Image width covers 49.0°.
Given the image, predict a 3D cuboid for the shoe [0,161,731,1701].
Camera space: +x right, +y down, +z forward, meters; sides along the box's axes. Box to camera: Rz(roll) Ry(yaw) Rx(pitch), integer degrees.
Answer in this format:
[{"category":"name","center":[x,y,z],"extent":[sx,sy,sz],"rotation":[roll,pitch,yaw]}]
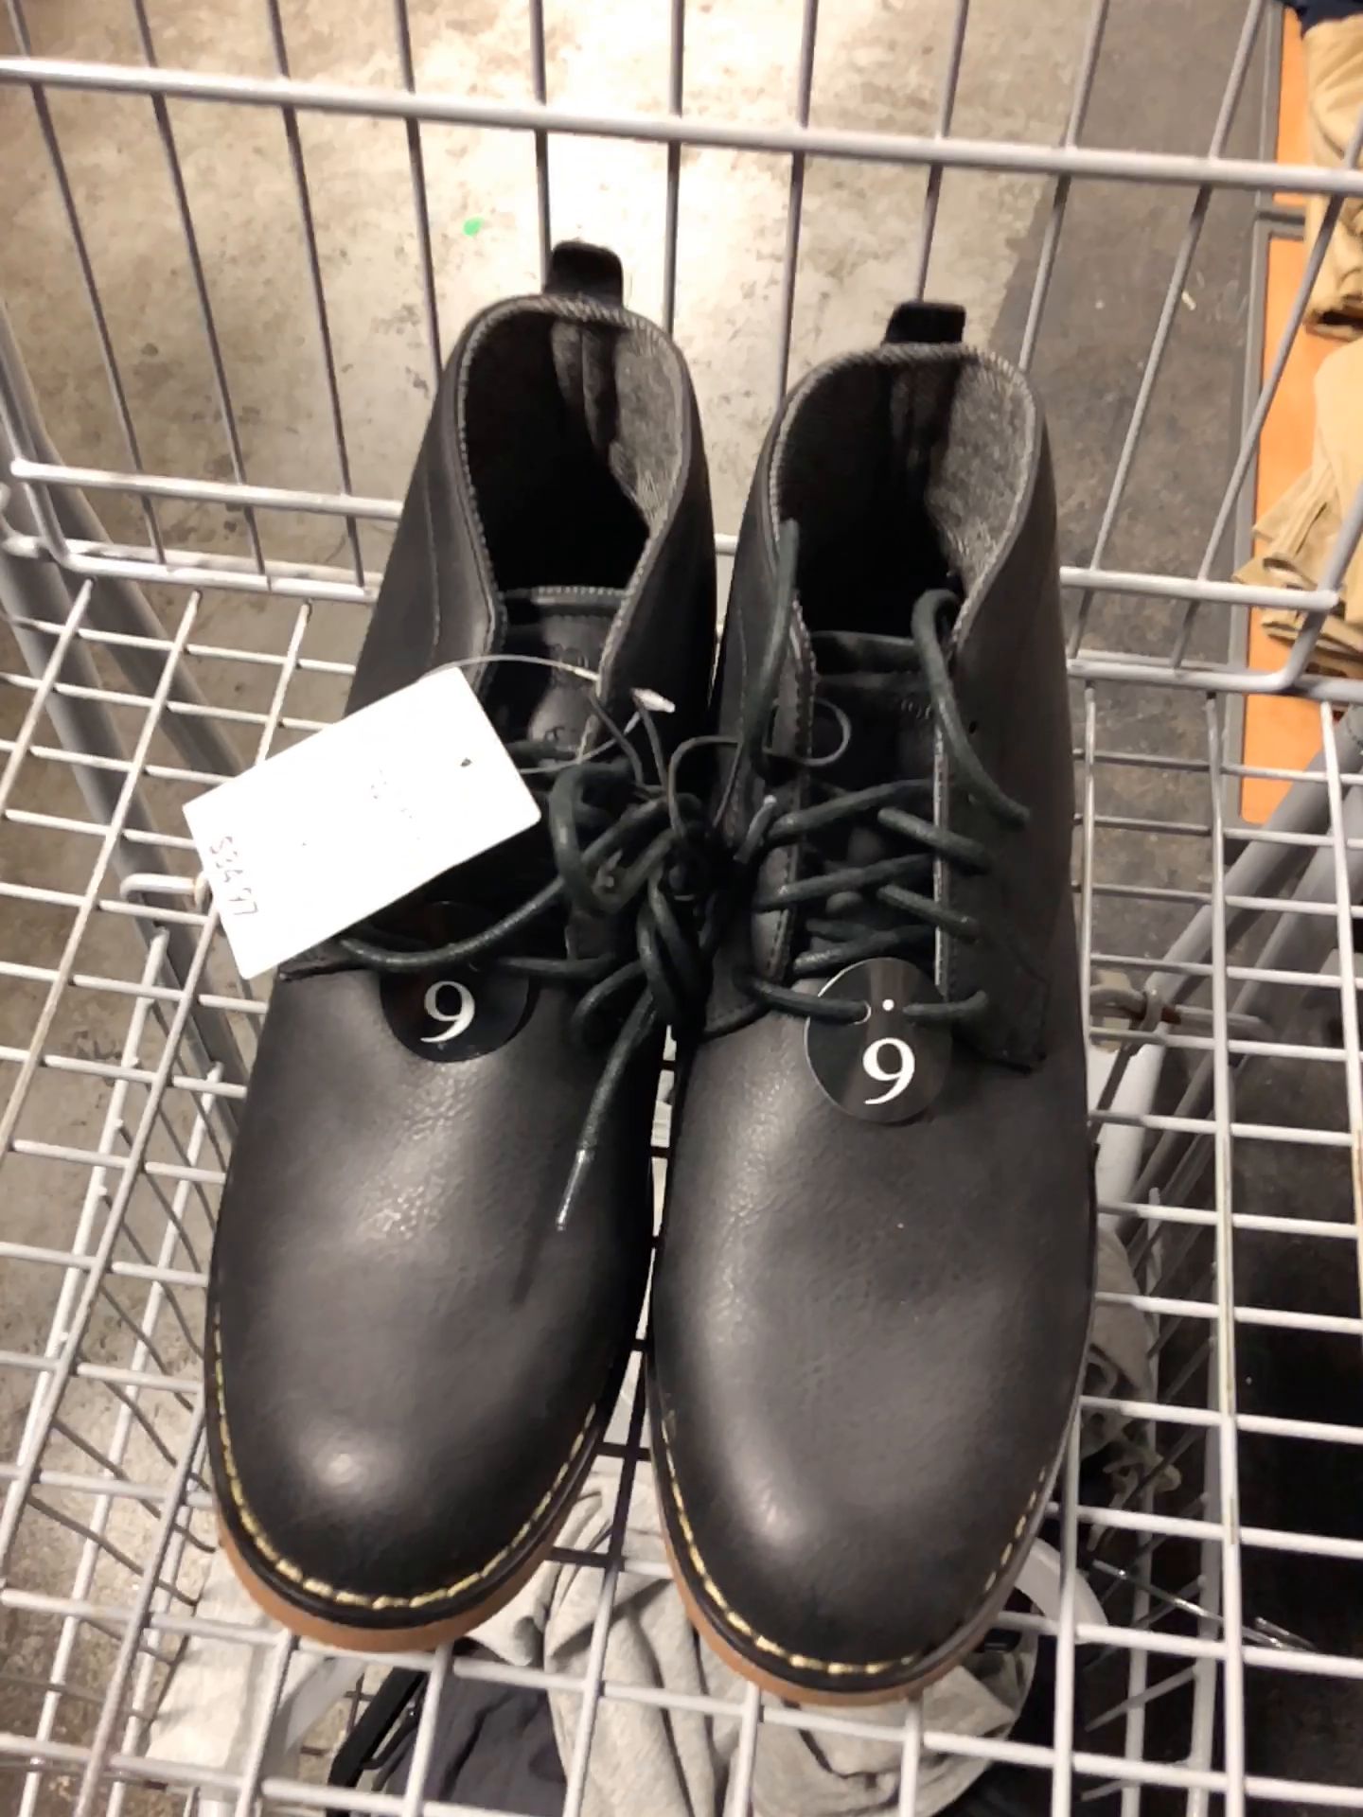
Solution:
[{"category":"shoe","center":[-0.058,0.015,0.325],"extent":[0.100,0.199,0.261],"rotation":[7,61,3]}]

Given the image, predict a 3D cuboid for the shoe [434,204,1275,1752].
[{"category":"shoe","center":[0.037,0.024,0.331],"extent":[0.100,0.199,0.271],"rotation":[7,61,3]}]
